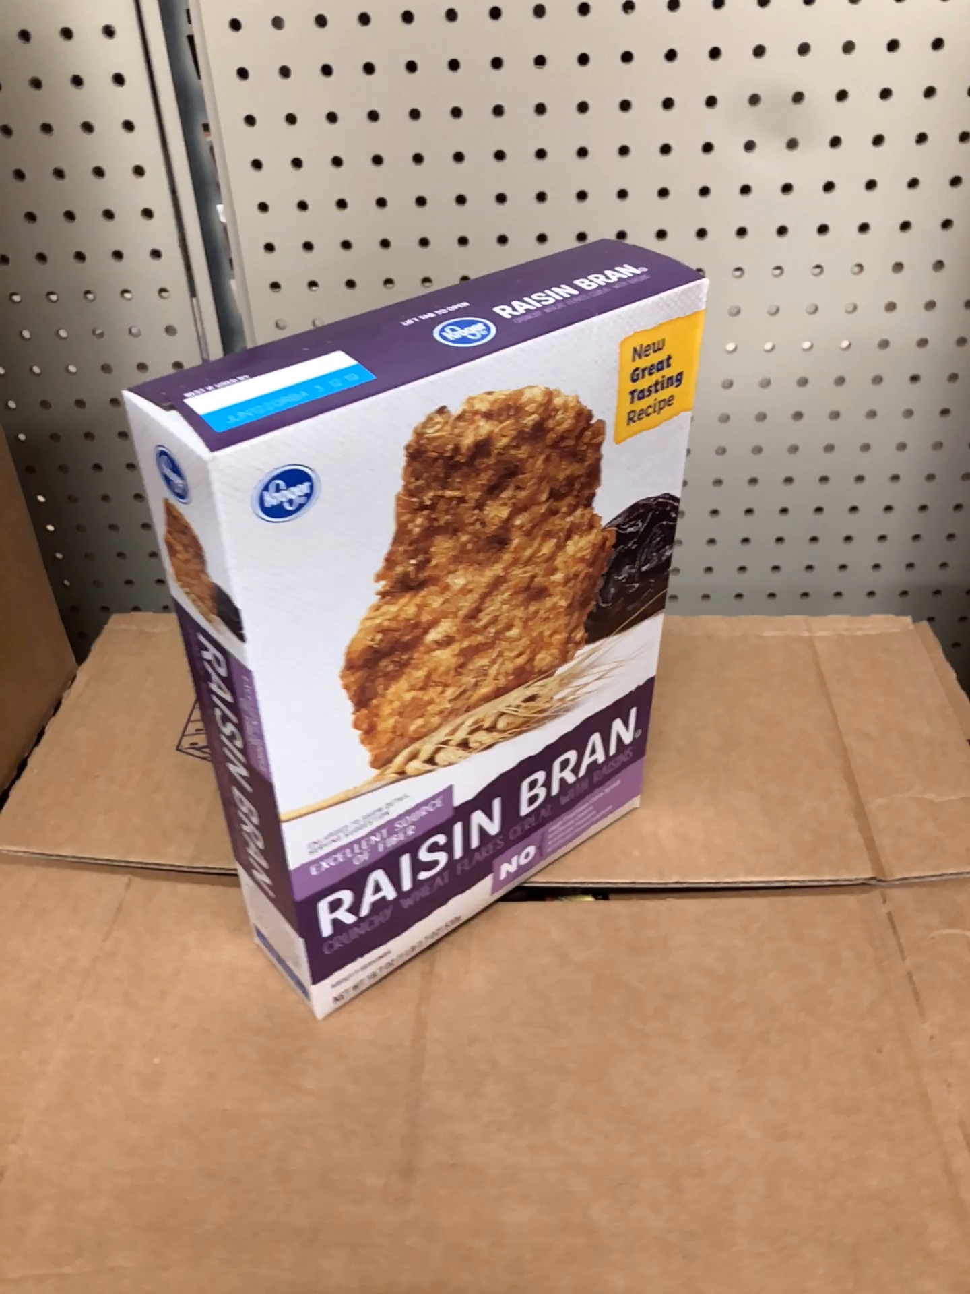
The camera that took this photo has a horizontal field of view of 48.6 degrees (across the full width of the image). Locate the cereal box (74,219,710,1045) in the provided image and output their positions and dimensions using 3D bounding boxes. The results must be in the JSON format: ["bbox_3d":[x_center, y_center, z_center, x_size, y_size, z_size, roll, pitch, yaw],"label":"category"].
[{"bbox_3d":[-0.019,0.000,0.417,0.200,0.269,0.060,-27,46,-30],"label":"cereal box"}]
